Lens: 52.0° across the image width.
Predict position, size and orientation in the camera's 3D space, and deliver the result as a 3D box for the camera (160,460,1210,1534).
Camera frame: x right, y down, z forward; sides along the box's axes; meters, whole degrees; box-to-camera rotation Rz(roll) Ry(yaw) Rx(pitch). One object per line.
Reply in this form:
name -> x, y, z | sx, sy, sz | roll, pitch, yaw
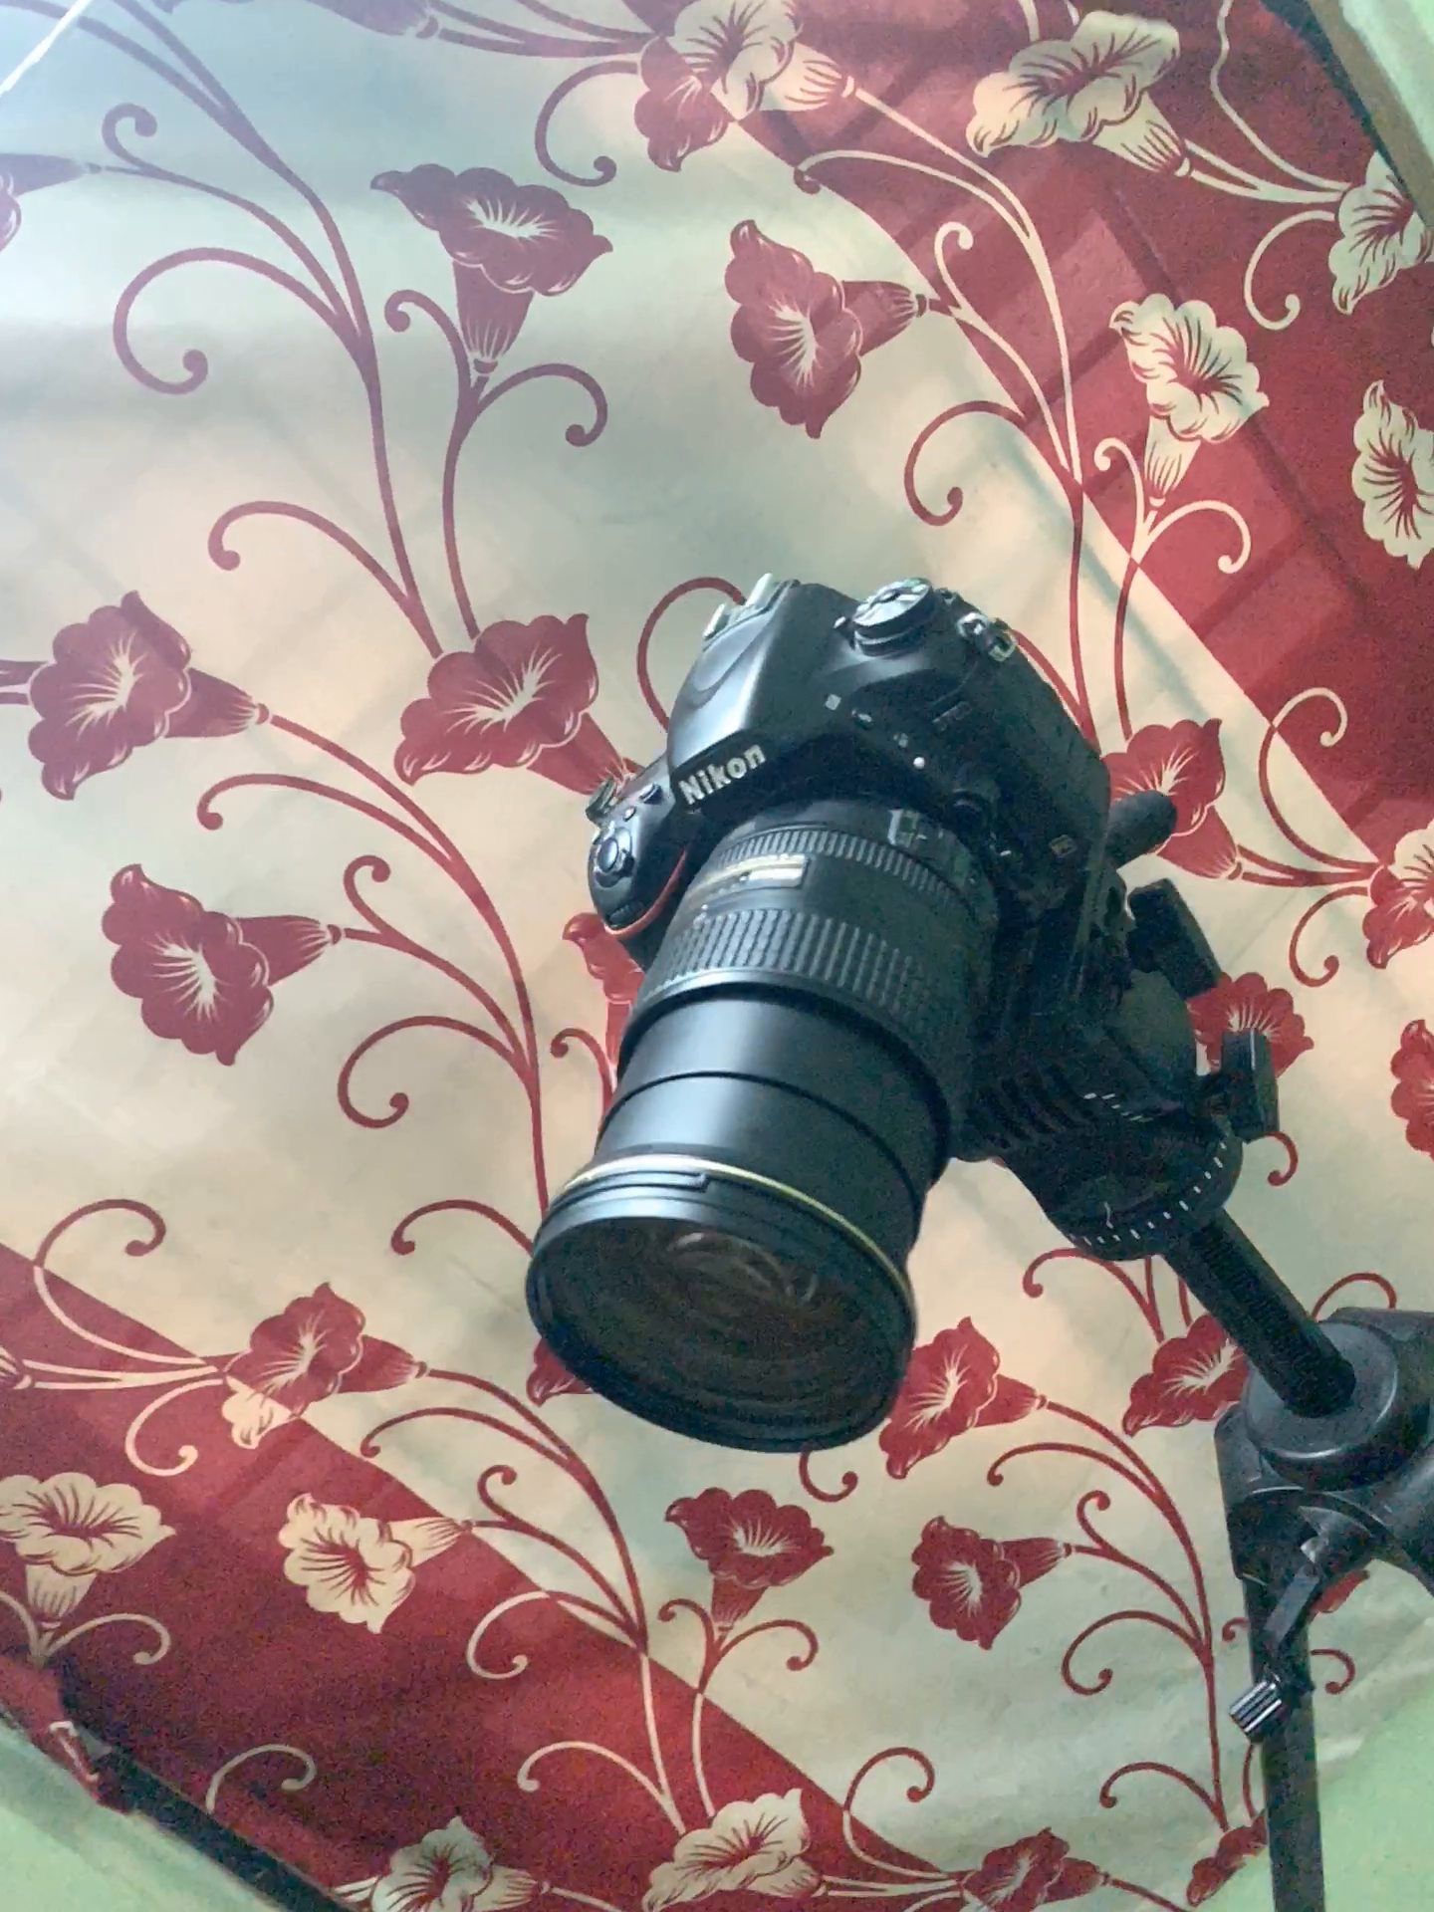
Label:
camera -> 0.005, 0.011, 0.347 | 0.172, 0.122, 0.170 | -28, 24, 34
